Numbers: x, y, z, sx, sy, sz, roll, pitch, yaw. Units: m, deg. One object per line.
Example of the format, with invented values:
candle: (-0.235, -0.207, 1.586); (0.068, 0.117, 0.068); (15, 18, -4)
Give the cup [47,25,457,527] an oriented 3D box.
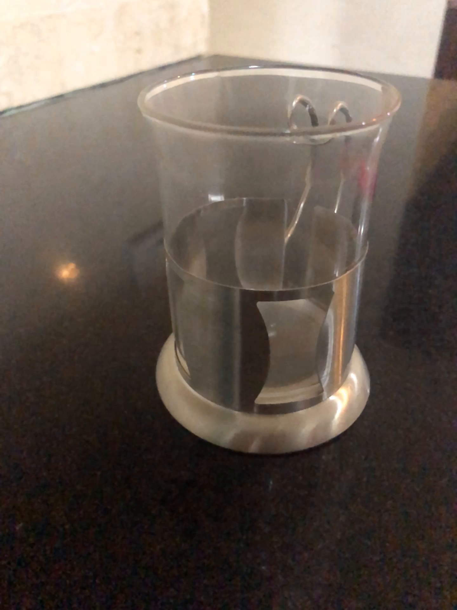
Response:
cup: (0.022, -0.022, 0.170); (0.080, 0.109, 0.111); (19, 39, 25)
